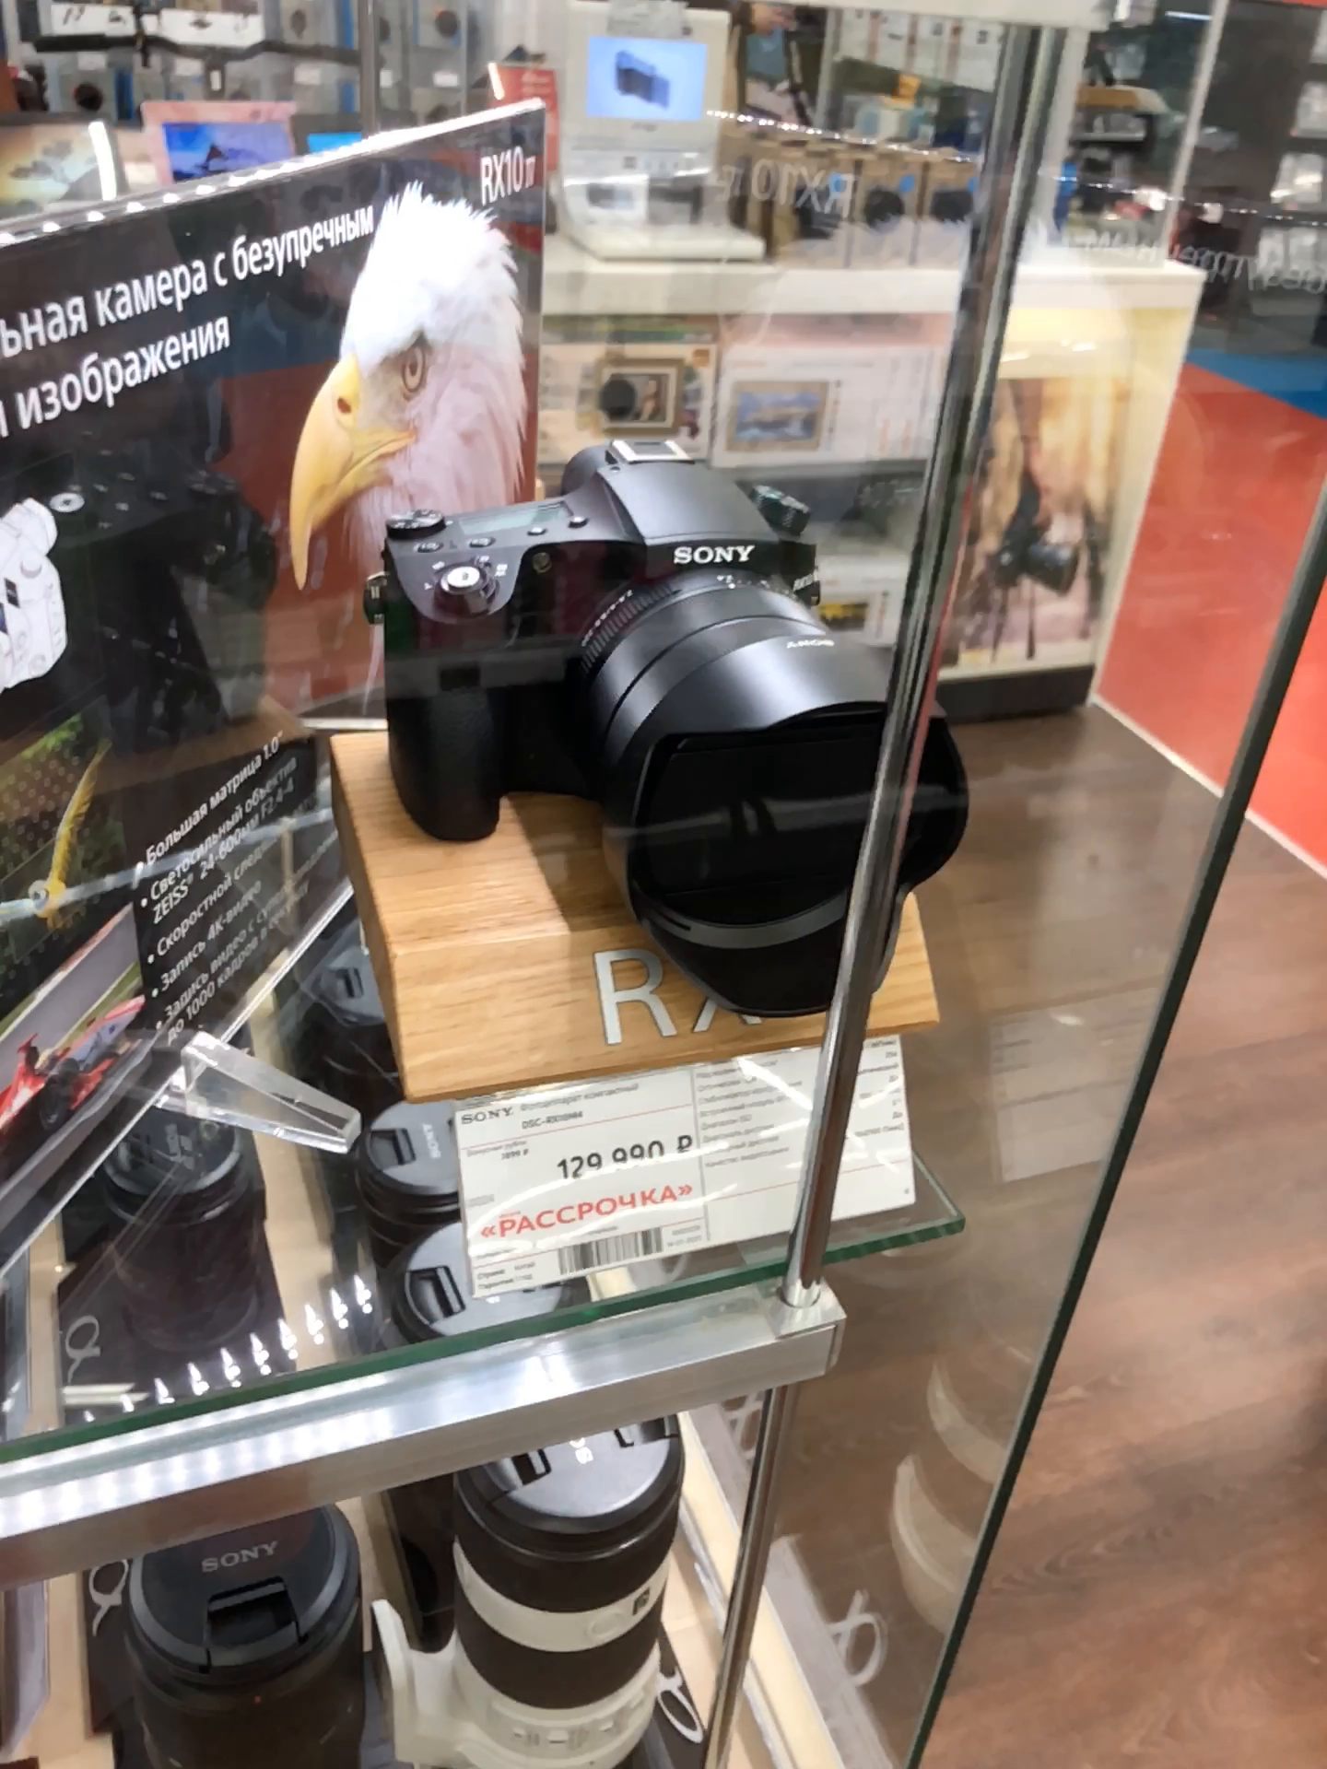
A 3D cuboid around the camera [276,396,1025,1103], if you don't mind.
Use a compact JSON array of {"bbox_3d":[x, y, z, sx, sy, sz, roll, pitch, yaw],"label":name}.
[{"bbox_3d":[-0.019,-0.050,0.383,0.126,0.099,0.179,-9,36,-20],"label":"camera"}]
